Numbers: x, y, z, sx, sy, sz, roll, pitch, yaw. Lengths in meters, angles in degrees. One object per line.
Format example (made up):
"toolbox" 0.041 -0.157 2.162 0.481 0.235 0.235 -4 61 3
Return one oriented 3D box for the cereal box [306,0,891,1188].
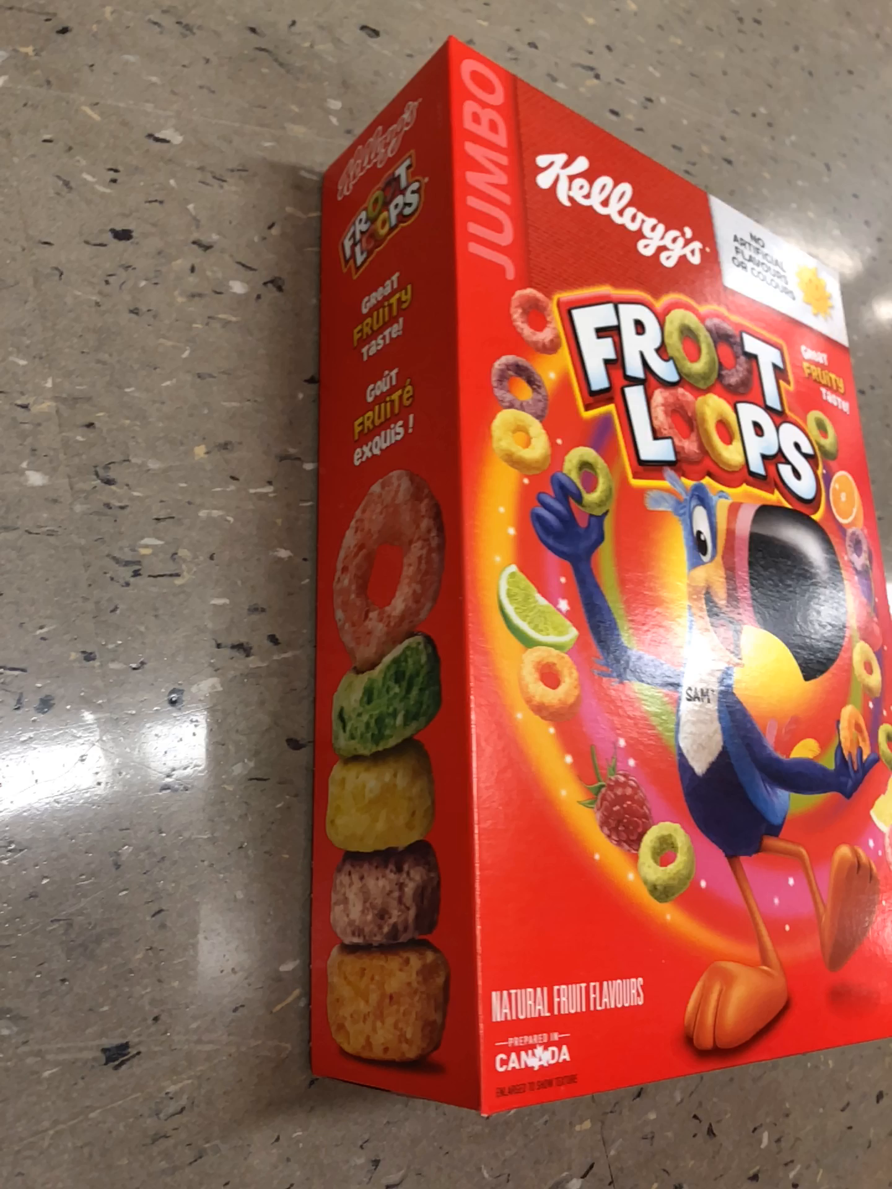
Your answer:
"cereal box" 0.091 -0.005 0.376 0.271 0.080 0.360 13 67 -35
